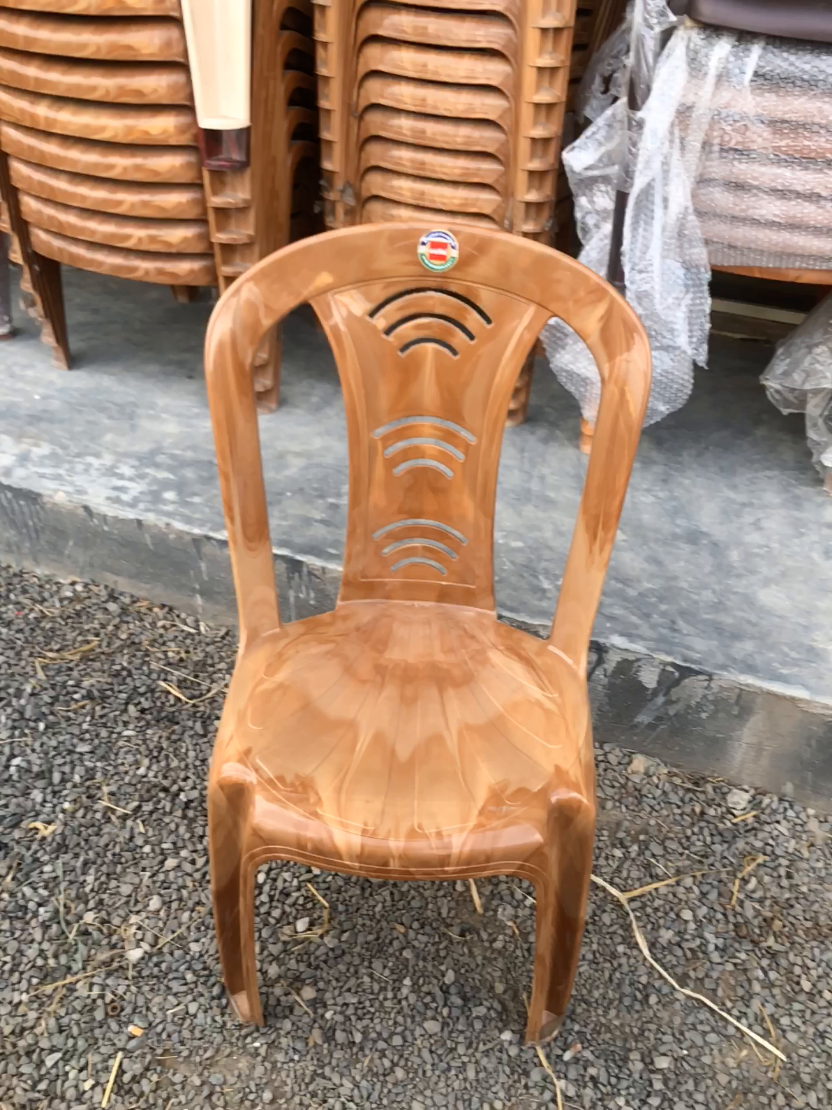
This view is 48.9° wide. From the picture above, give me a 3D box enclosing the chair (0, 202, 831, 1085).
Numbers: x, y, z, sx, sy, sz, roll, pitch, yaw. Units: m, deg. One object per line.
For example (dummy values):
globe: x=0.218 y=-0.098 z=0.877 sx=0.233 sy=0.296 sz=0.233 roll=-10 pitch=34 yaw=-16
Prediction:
chair: x=0.006 y=0.098 z=1.029 sx=0.540 sy=0.766 sz=0.583 roll=3 pitch=37 yaw=1
